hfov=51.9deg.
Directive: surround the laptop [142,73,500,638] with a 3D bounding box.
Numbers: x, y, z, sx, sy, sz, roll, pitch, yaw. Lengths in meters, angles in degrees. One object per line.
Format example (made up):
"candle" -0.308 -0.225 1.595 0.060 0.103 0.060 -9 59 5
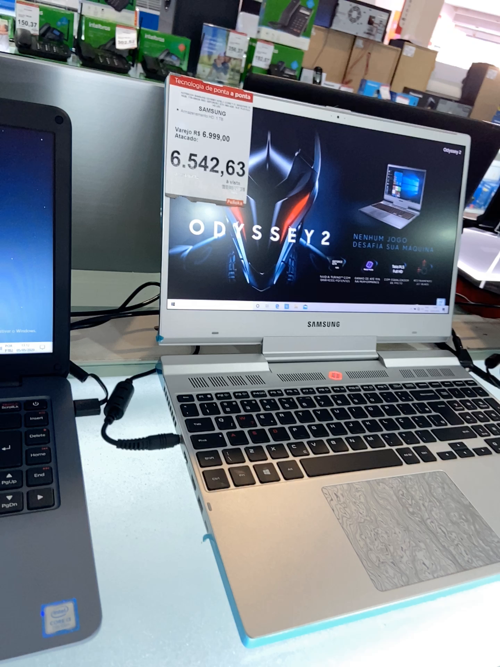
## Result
"laptop" 0.127 -0.033 0.434 0.353 0.225 0.369 0 33 -23
